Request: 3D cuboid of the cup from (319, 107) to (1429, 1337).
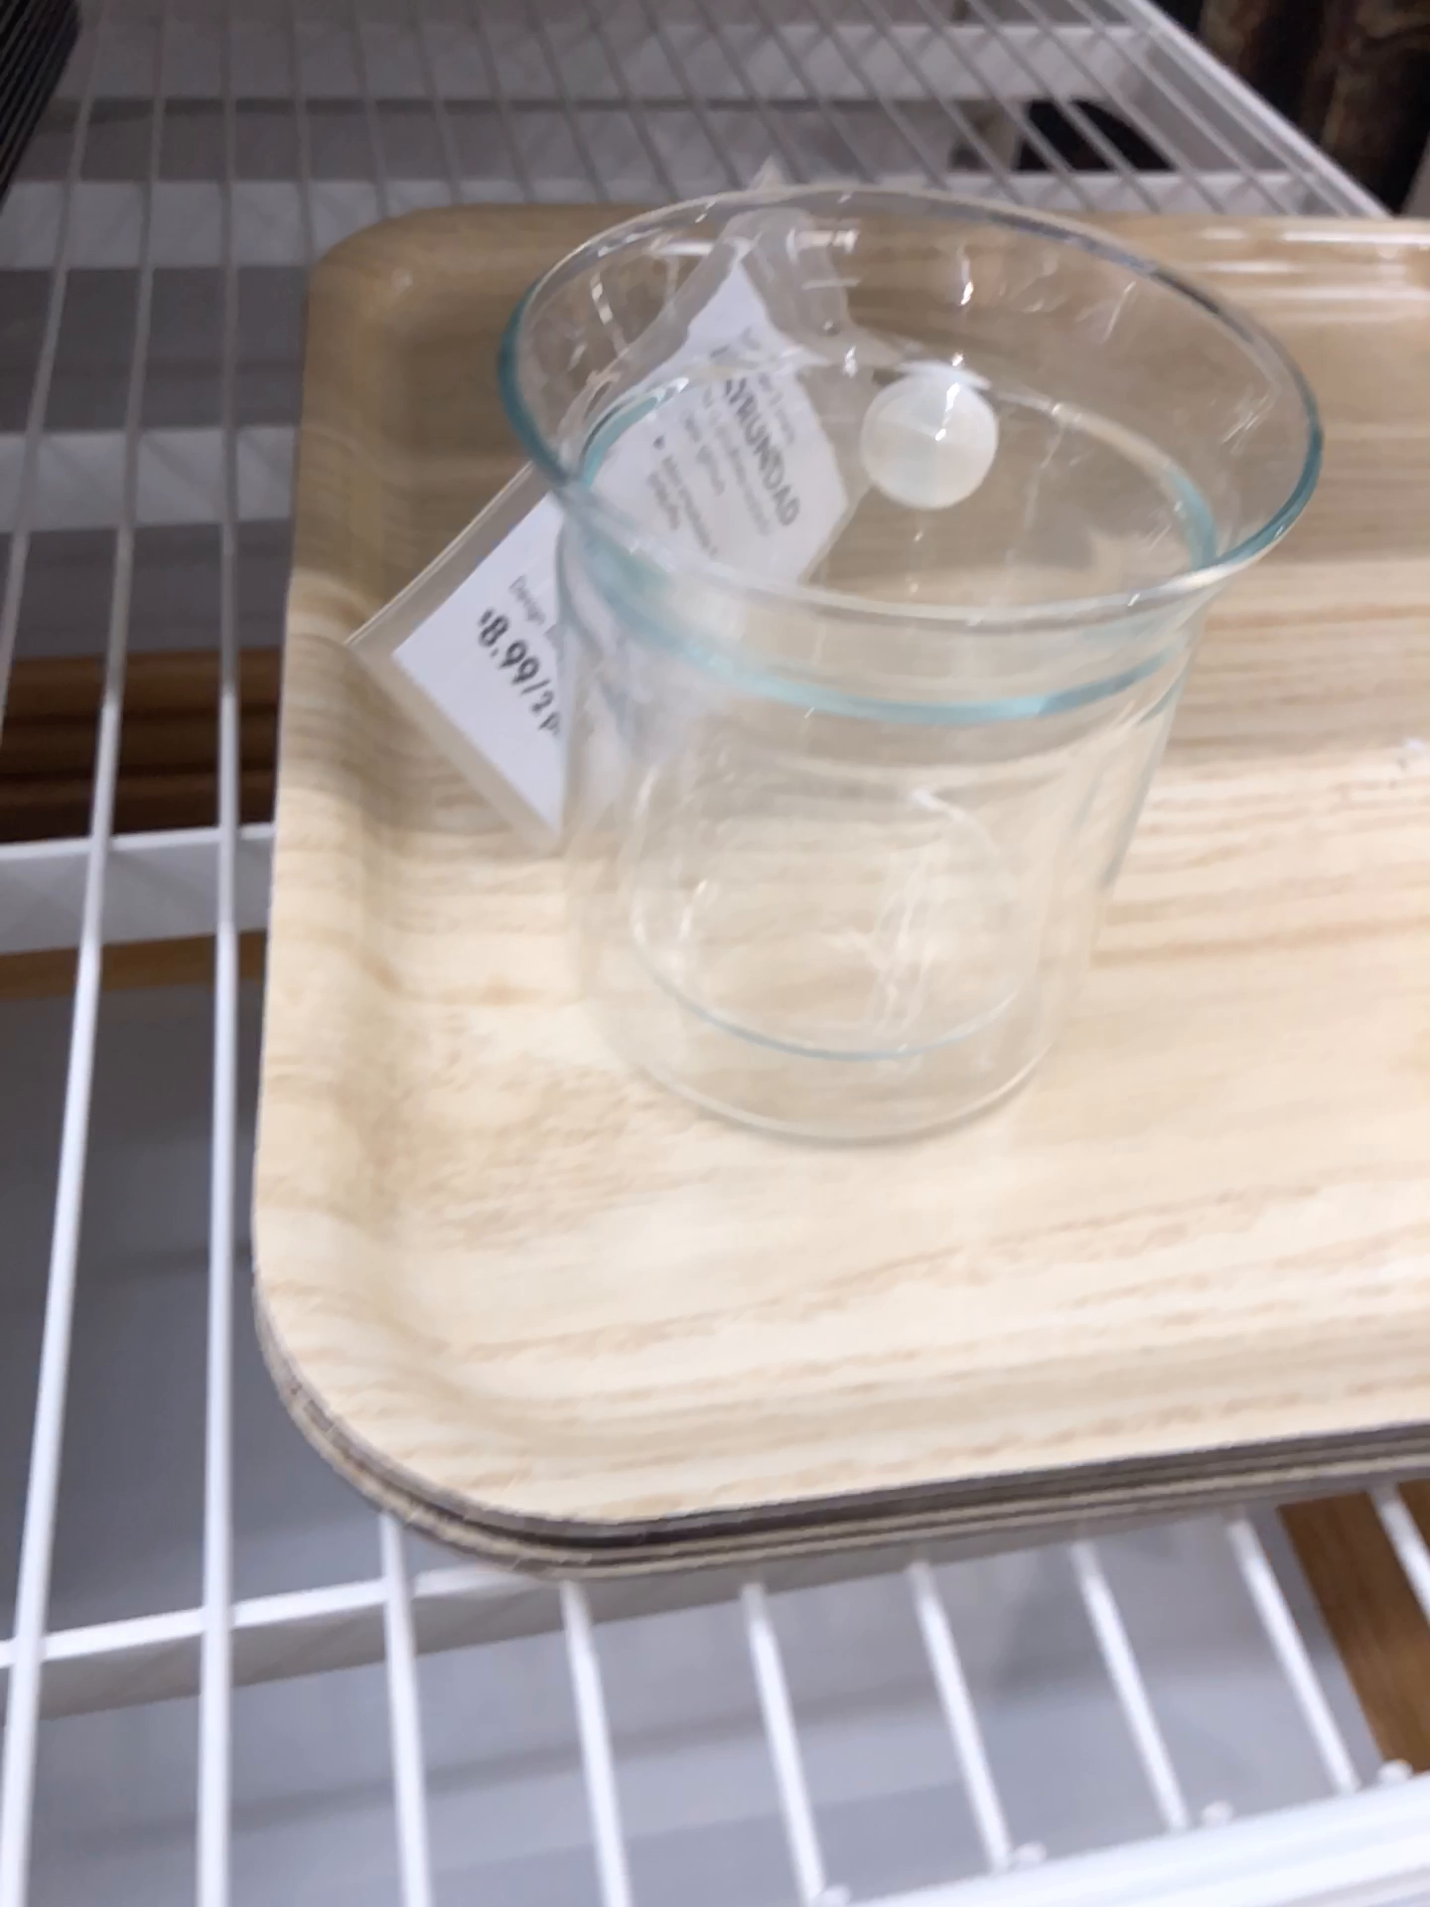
[{"bbox_3d":[0.026,-0.035,0.193,0.090,0.080,0.100,35,52,25],"label":"cup"}]
